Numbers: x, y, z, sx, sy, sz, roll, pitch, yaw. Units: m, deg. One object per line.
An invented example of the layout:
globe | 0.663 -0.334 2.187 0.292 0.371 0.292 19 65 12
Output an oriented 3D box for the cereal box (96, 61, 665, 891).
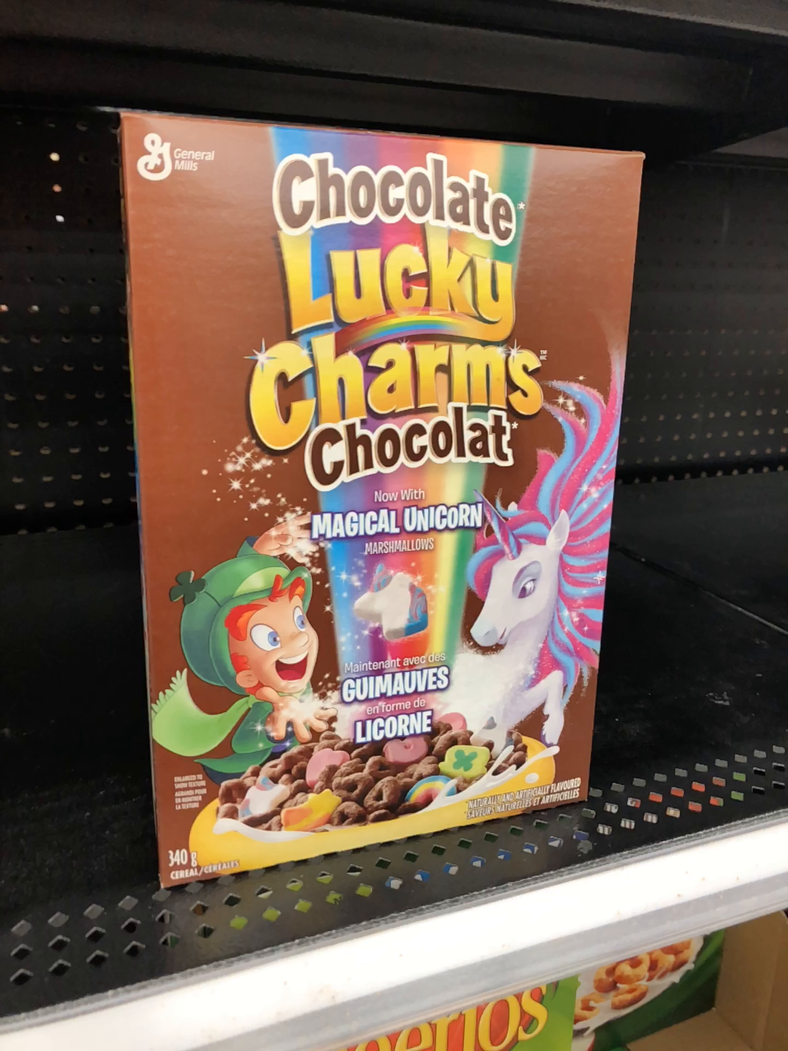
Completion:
cereal box | -0.004 -0.013 0.352 0.200 0.289 0.050 -4 16 -19
